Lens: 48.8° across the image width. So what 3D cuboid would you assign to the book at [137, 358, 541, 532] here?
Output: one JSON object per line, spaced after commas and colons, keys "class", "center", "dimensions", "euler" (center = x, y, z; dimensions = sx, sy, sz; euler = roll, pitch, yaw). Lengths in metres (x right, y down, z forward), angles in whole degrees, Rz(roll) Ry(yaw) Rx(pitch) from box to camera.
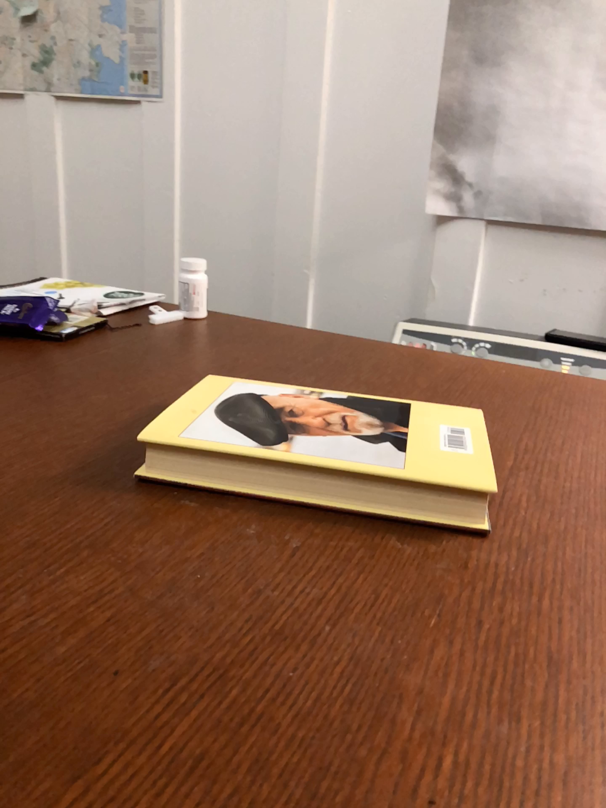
{"class": "book", "center": [0.034, 0.017, 0.501], "dimensions": [0.250, 0.030, 0.191], "euler": [7, 20, 10]}
